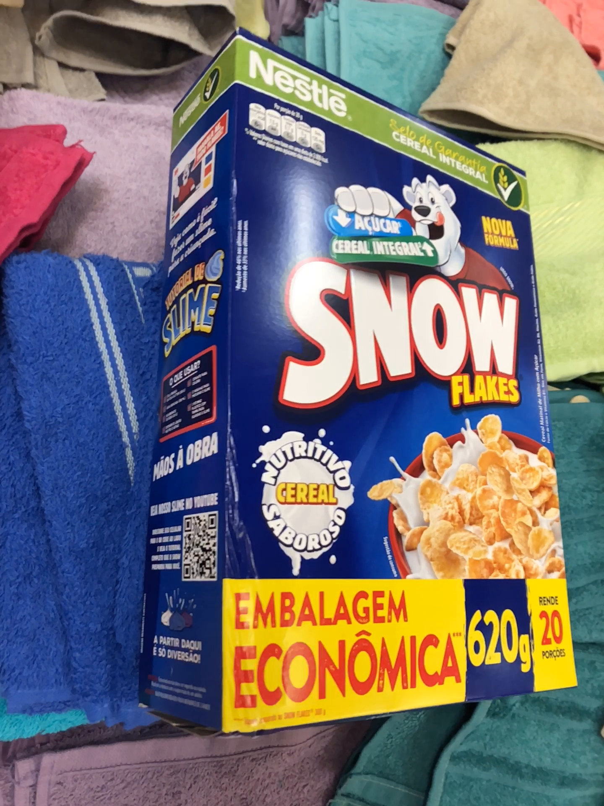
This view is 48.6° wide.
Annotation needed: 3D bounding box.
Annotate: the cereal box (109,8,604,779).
[{"bbox_3d":[0.035,-0.004,0.335,0.221,0.070,0.300,10,71,-31],"label":"cereal box"}]
